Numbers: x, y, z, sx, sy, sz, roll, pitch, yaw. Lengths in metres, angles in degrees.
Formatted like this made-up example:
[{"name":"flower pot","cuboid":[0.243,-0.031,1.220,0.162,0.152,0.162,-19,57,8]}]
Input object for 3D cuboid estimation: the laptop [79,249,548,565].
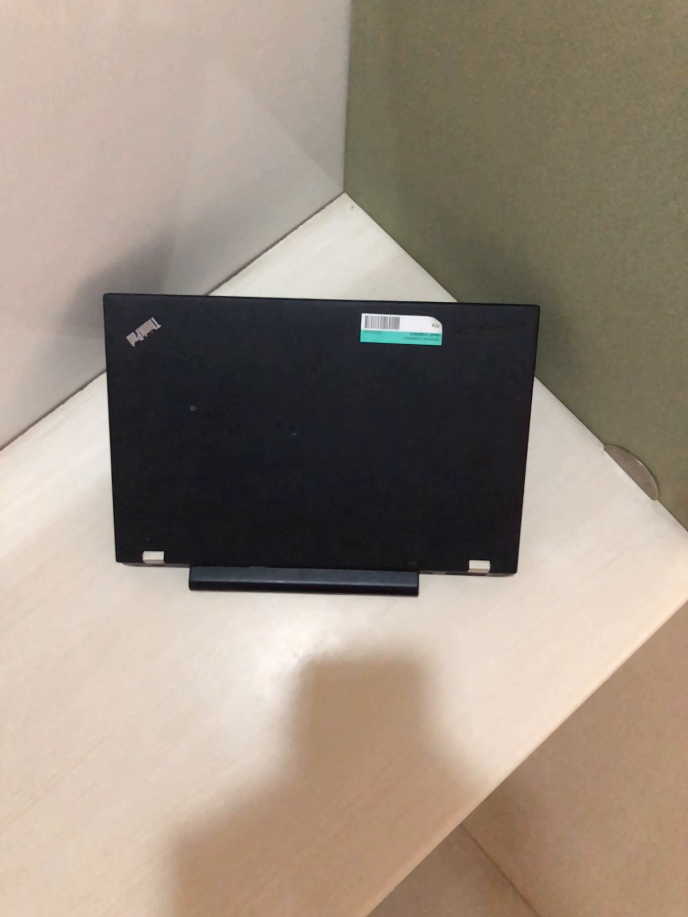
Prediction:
[{"name":"laptop","cuboid":[-0.020,-0.038,0.666,0.354,0.140,0.232,2,75,1]}]
